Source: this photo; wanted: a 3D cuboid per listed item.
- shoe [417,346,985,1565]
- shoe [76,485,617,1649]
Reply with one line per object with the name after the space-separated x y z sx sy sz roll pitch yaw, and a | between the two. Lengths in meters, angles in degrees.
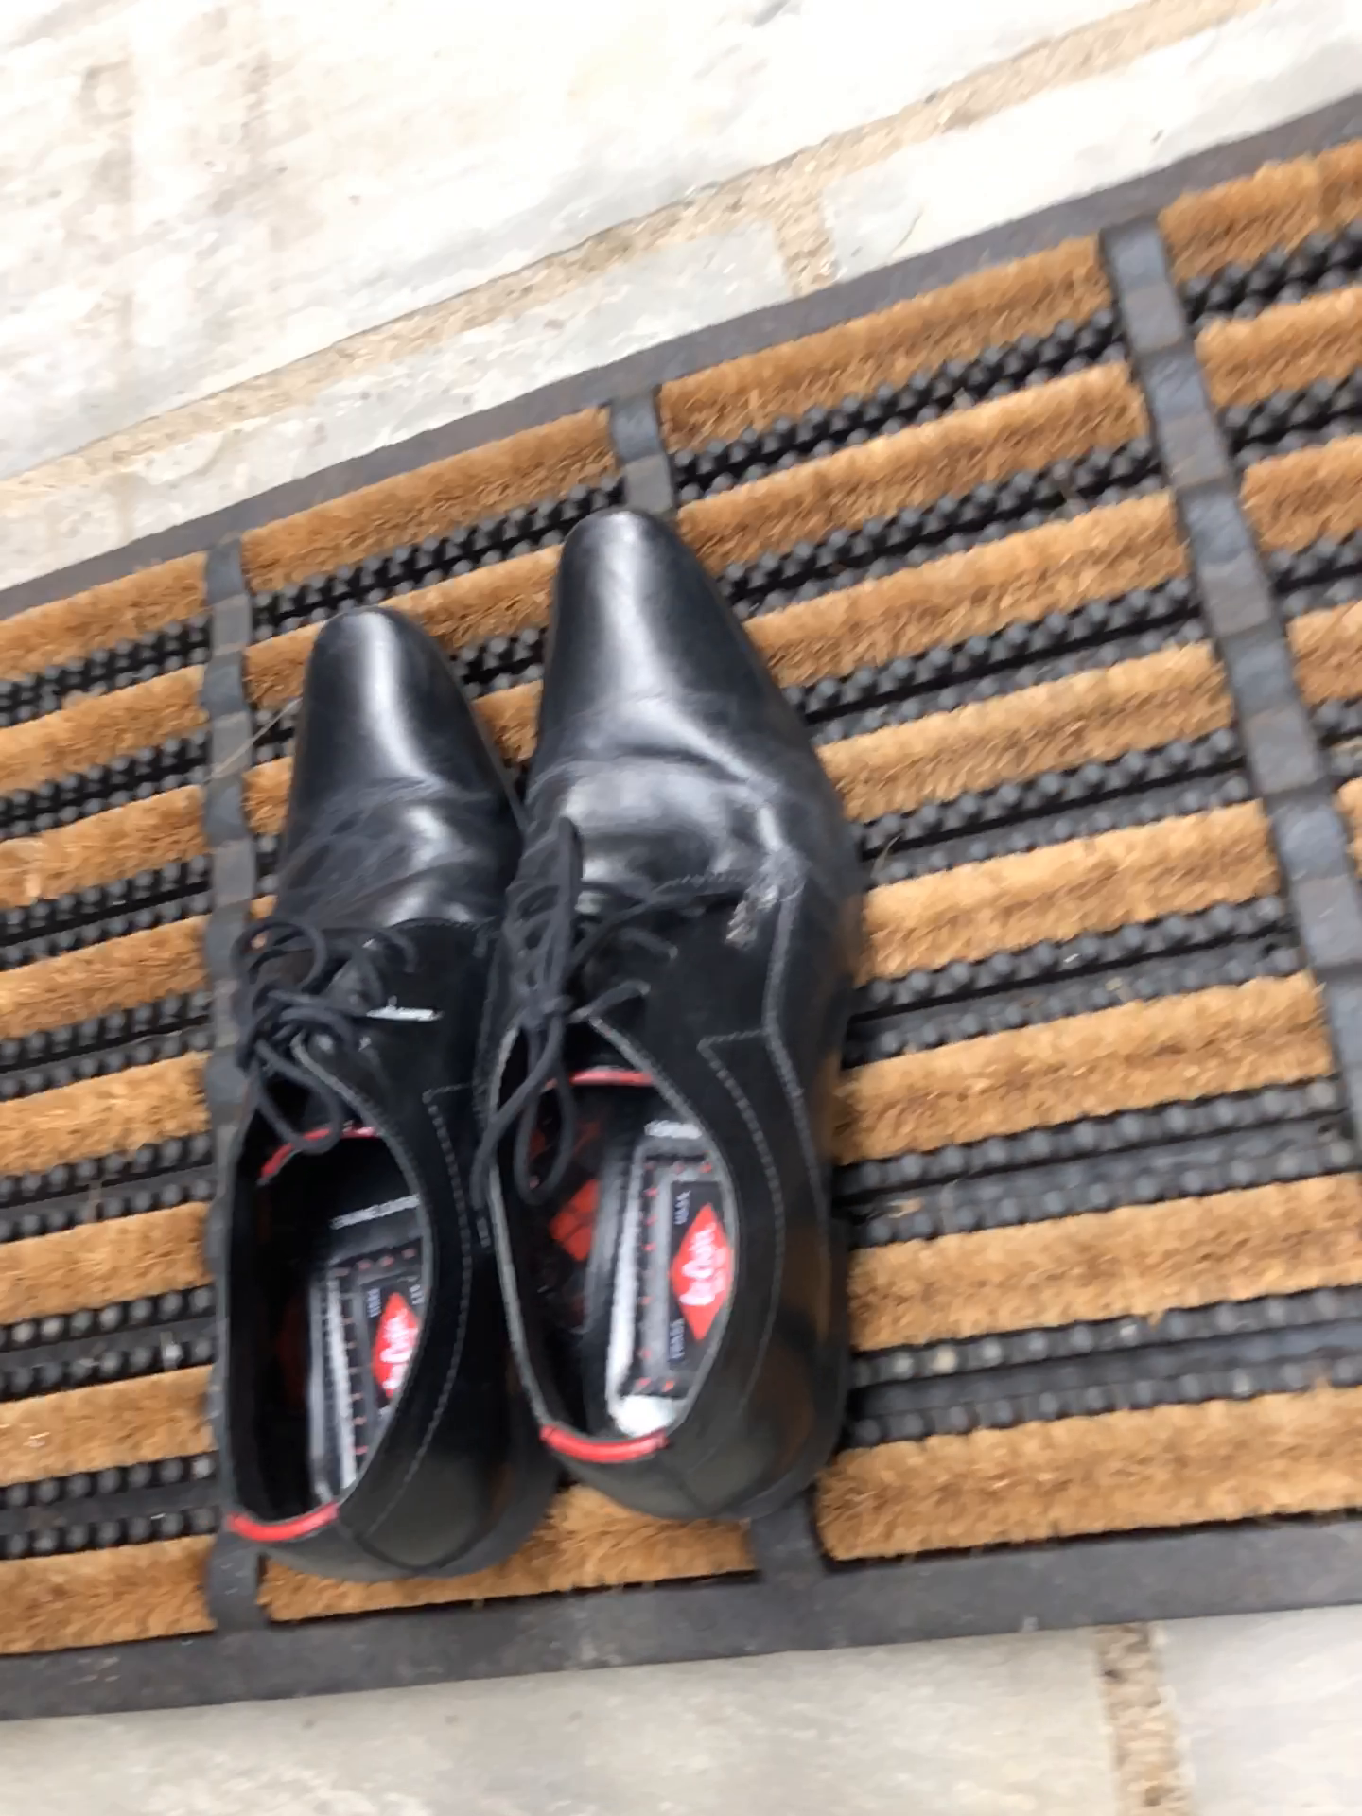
0.001 0.011 0.418 0.100 0.100 0.301 -13 69 17 | shoe
-0.096 0.042 0.443 0.100 0.100 0.301 -13 69 17 | shoe
